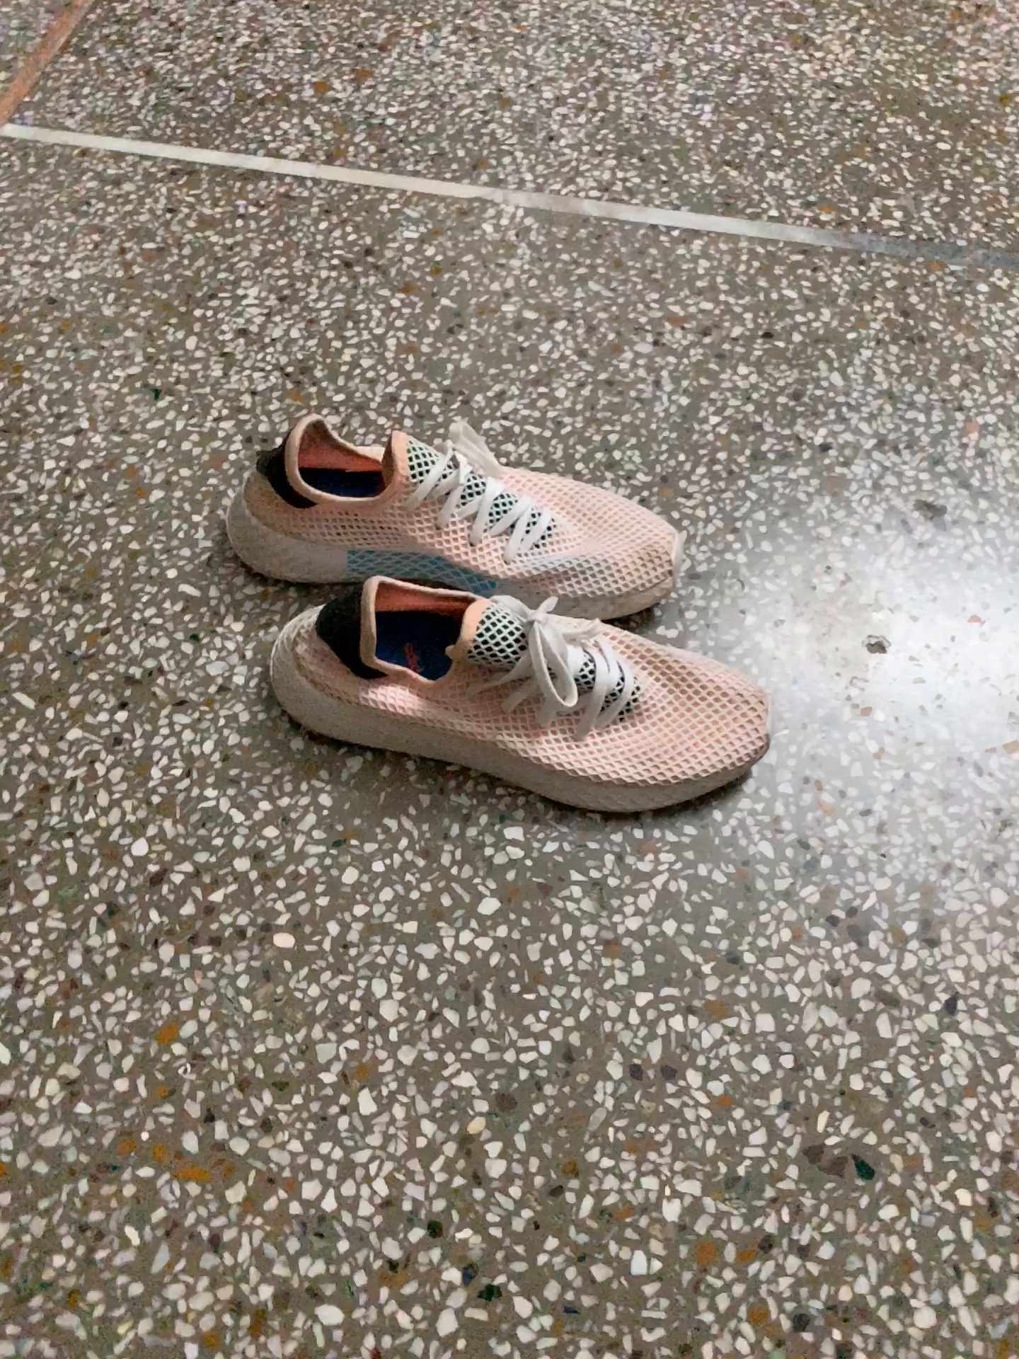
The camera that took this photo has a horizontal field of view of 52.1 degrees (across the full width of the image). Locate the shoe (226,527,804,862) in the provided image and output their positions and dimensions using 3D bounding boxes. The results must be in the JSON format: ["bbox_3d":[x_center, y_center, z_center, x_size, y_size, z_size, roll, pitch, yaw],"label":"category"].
[{"bbox_3d":[0.007,0.010,0.634,0.310,0.100,0.122,9,61,4],"label":"shoe"}]

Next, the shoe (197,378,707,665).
[{"bbox_3d":[-0.033,-0.107,0.710,0.310,0.100,0.122,7,61,3],"label":"shoe"}]
